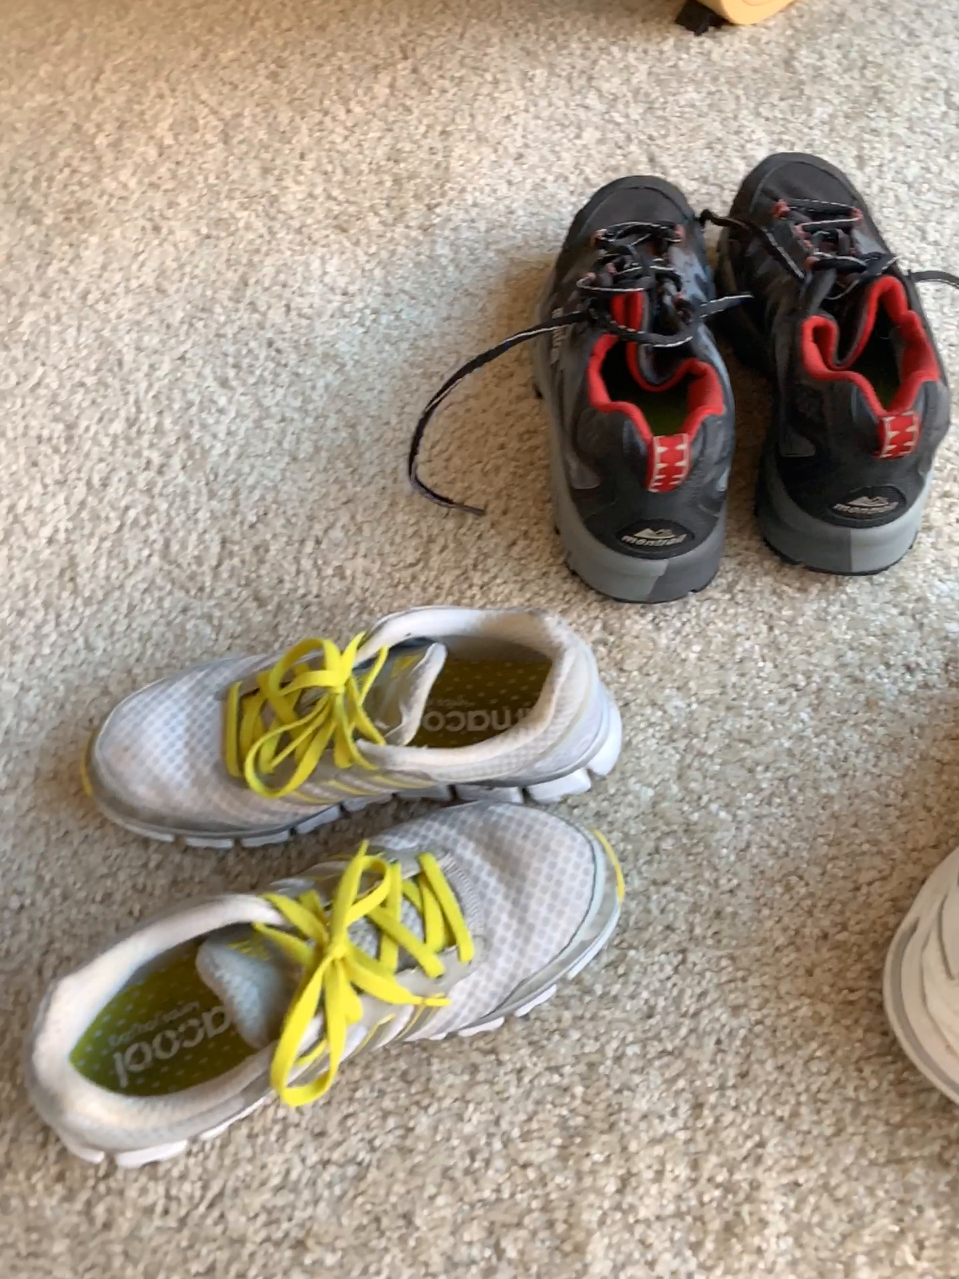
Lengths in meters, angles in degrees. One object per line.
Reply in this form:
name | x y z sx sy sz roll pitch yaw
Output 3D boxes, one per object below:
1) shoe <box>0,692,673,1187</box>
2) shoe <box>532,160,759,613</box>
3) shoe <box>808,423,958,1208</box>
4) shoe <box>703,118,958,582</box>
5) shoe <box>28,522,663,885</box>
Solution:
shoe | -0.070 0.134 0.445 0.280 0.090 0.110 -18 61 -8
shoe | 0.086 -0.156 0.579 0.100 0.090 0.271 -1 60 2
shoe | 0.307 0.071 0.452 0.120 0.130 0.330 35 67 20
shoe | 0.201 -0.171 0.558 0.100 0.090 0.271 -1 60 2
shoe | -0.062 0.032 0.481 0.270 0.090 0.110 -8 60 -3
